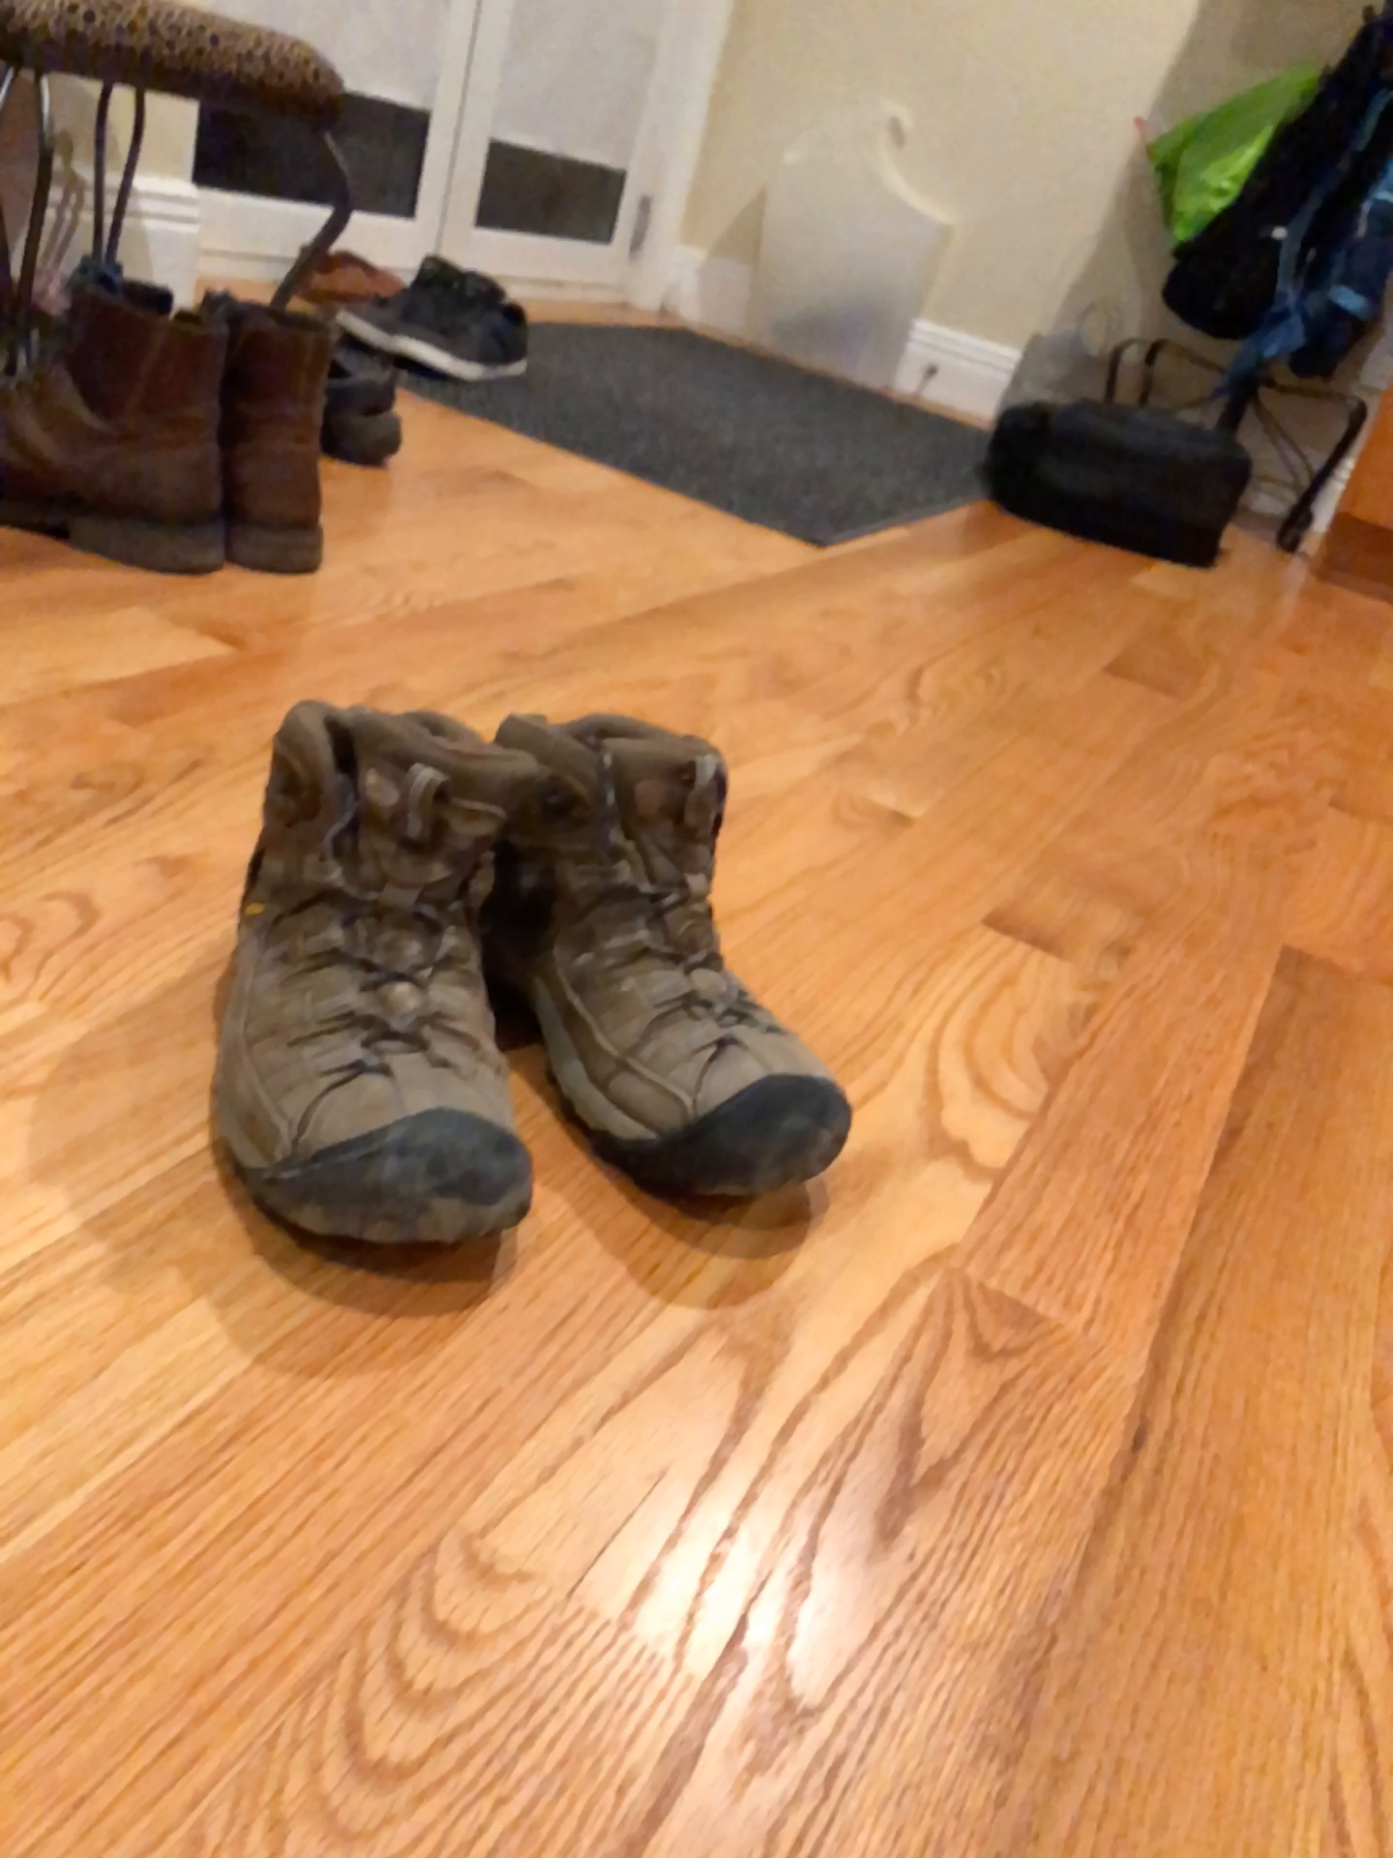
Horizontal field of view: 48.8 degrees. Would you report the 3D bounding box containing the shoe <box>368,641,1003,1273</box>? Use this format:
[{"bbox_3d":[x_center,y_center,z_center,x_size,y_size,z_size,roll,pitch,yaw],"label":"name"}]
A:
[{"bbox_3d":[-0.021,-0.005,0.645,0.108,0.139,0.260,-5,33,-39],"label":"shoe"}]

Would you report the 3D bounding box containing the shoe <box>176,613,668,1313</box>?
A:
[{"bbox_3d":[-0.121,-0.002,0.580,0.108,0.139,0.260,3,28,-26],"label":"shoe"}]
